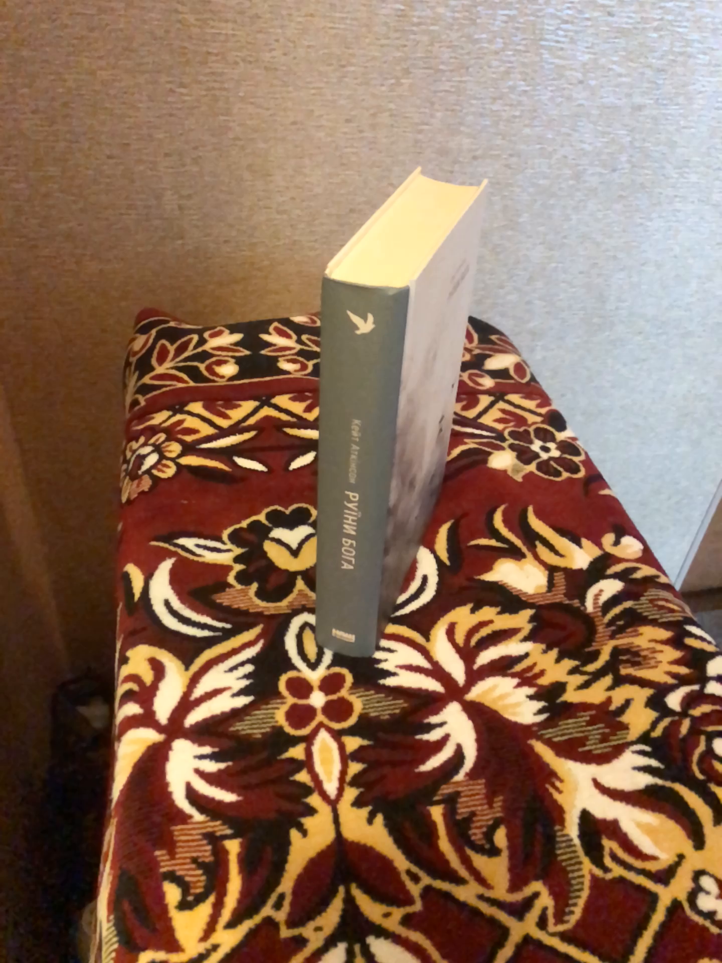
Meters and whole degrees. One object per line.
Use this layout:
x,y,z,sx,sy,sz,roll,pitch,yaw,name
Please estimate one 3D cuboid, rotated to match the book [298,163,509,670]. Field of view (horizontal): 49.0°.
0.020,-0.032,0.394,0.048,0.200,0.146,14,38,11,book
